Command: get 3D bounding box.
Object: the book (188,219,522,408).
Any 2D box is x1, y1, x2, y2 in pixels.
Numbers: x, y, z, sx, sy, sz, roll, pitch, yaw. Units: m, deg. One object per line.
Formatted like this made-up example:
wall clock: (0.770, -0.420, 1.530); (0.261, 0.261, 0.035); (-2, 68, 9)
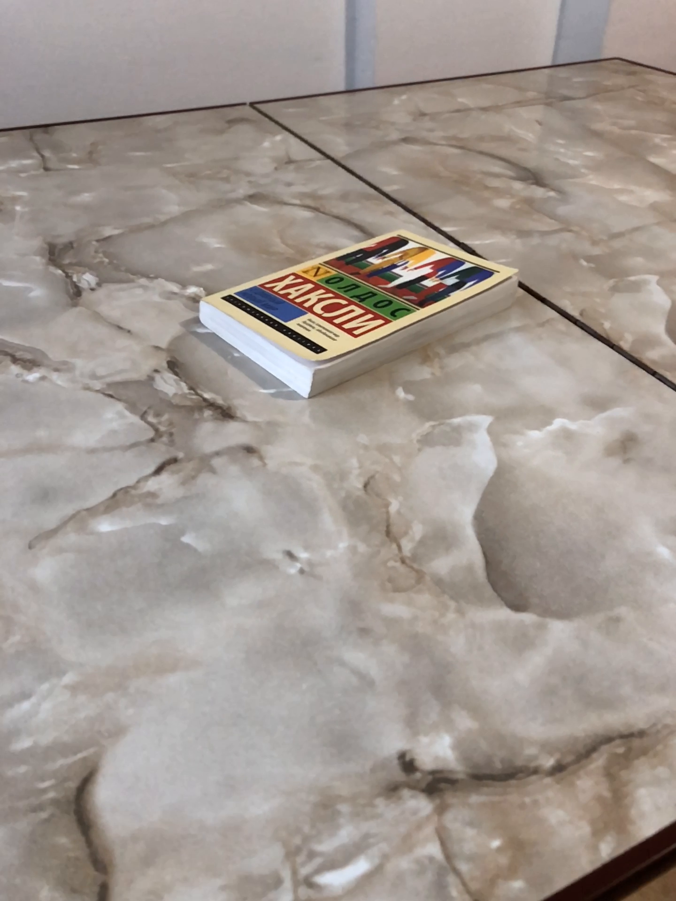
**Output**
book: (0.013, -0.100, 0.494); (0.184, 0.028, 0.120); (-27, 46, -30)
